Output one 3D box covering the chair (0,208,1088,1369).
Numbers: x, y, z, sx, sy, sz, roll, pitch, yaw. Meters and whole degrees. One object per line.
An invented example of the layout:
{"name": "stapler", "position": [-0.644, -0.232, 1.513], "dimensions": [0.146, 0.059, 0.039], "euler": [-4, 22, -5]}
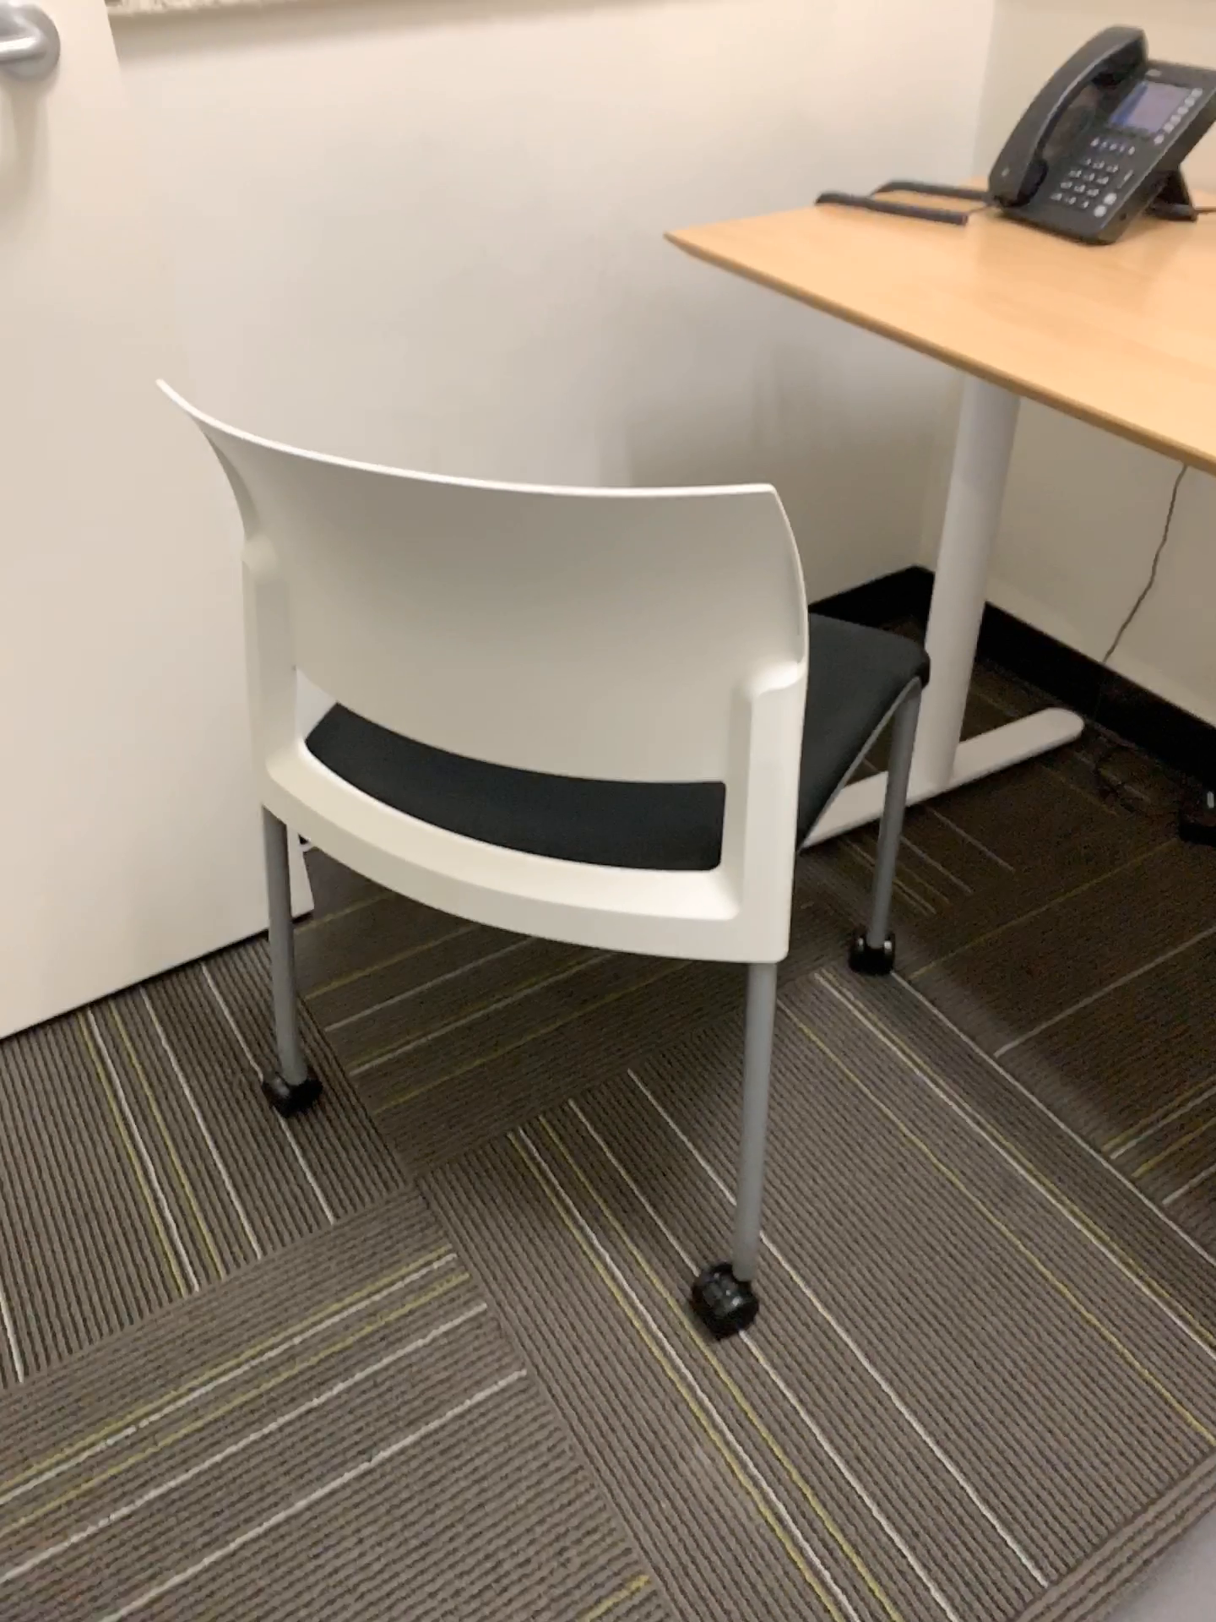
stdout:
{"name": "chair", "position": [-0.011, -0.063, 1.172], "dimensions": [0.612, 0.755, 0.582], "euler": [19, 42, 24]}
